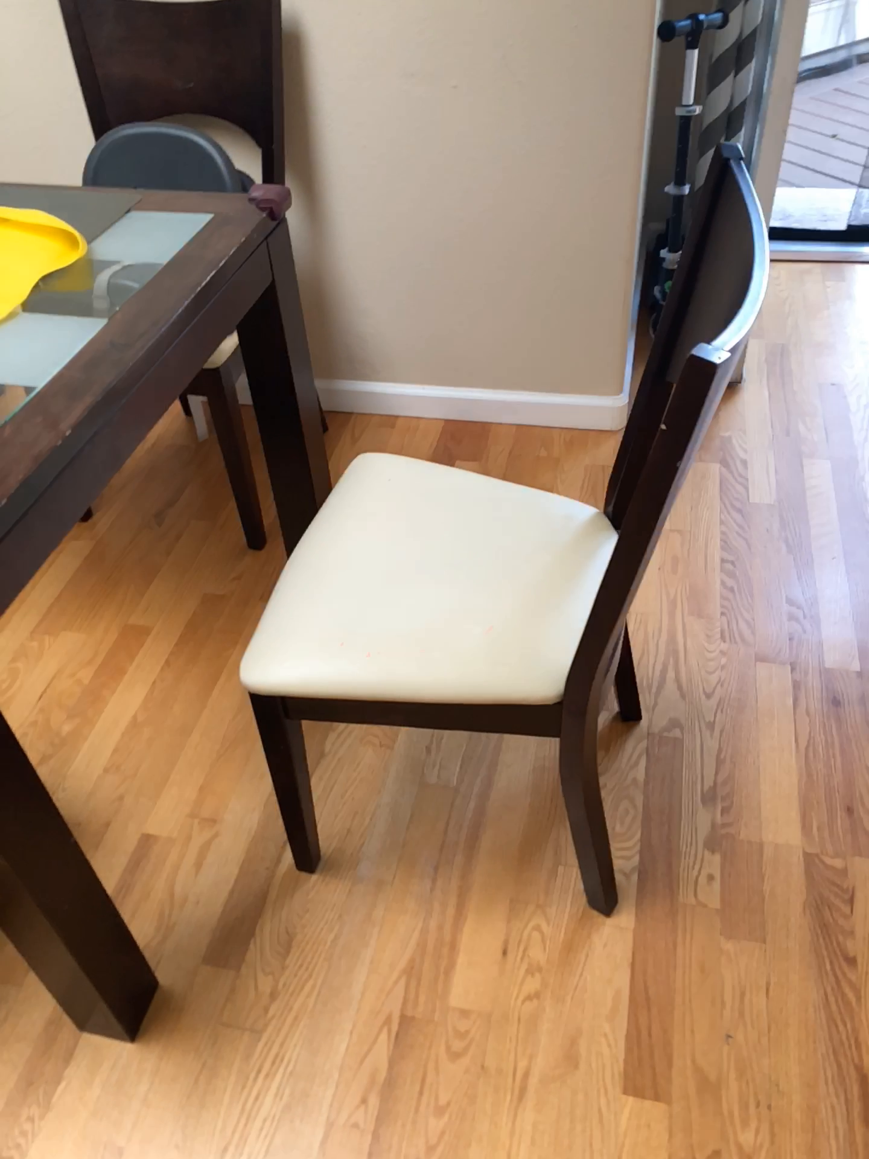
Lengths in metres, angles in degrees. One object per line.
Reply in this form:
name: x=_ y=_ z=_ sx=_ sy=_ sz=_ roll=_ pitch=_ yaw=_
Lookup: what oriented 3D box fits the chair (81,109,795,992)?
chair: x=0.079 y=-0.011 z=1.285 sx=0.590 sy=0.994 sz=0.563 roll=8 pitch=43 yaw=14
